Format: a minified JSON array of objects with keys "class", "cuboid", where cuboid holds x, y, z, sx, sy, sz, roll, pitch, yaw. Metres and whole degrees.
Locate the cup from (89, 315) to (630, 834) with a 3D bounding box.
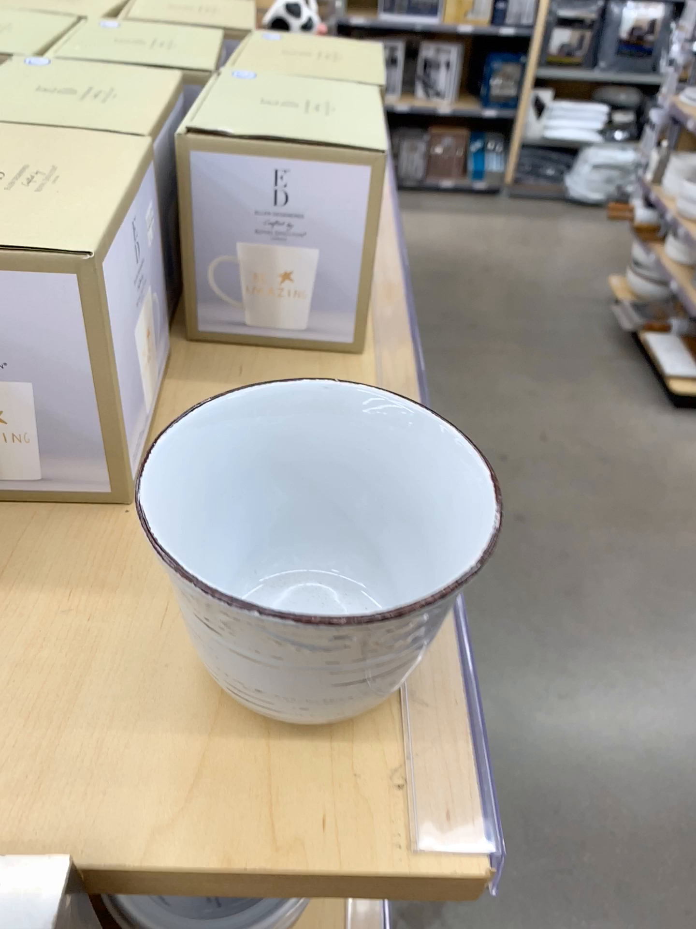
[{"class":"cup","cuboid":[0.003,0.023,0.249,0.125,0.075,0.114,2,40,-2]}]
